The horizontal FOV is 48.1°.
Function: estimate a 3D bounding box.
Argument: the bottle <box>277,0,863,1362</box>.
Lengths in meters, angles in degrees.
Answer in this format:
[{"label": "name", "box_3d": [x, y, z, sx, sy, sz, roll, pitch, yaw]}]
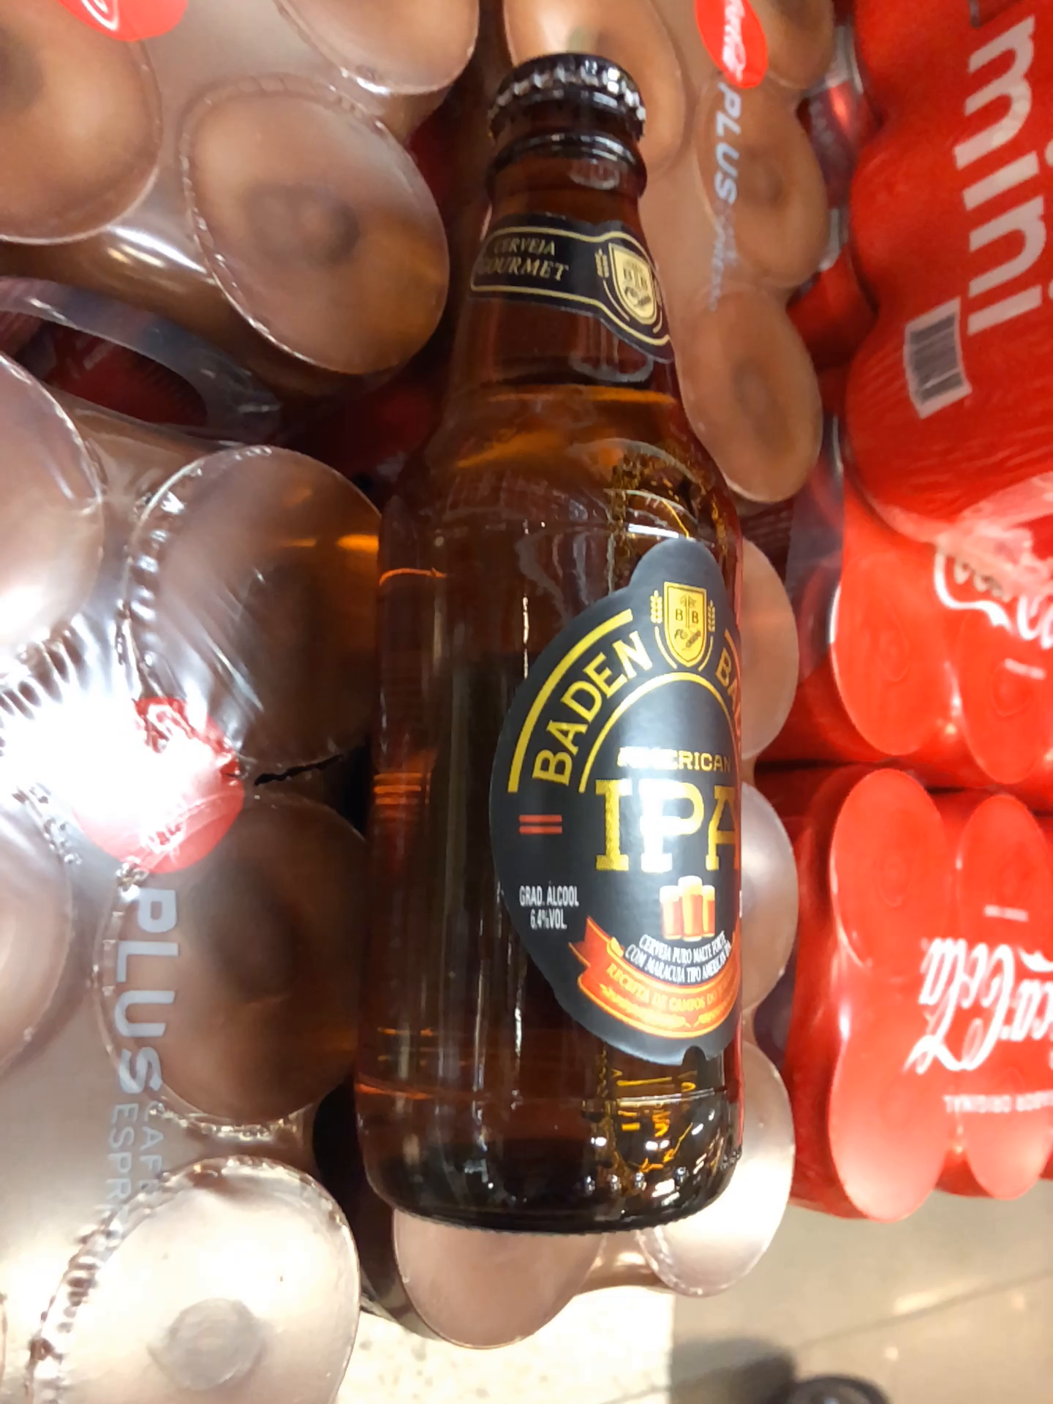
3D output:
[{"label": "bottle", "box_3d": [0.009, -0.025, 0.187, 0.070, 0.050, 0.210, 8, 80, -40]}]
